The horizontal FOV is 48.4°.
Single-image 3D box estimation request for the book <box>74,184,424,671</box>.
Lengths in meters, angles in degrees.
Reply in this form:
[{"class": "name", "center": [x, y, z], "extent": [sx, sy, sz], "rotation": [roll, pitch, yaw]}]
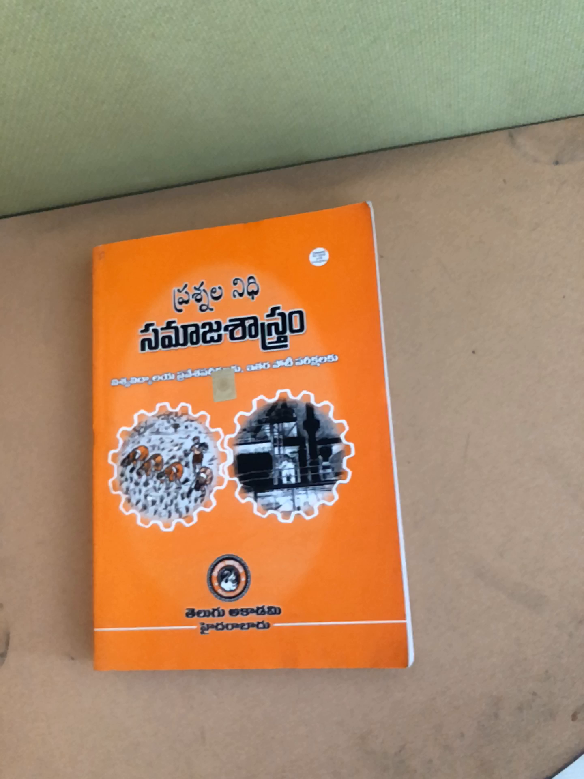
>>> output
[{"class": "book", "center": [-0.034, 0.025, 0.432], "extent": [0.210, 0.050, 0.290], "rotation": [-6, 78, 12]}]
